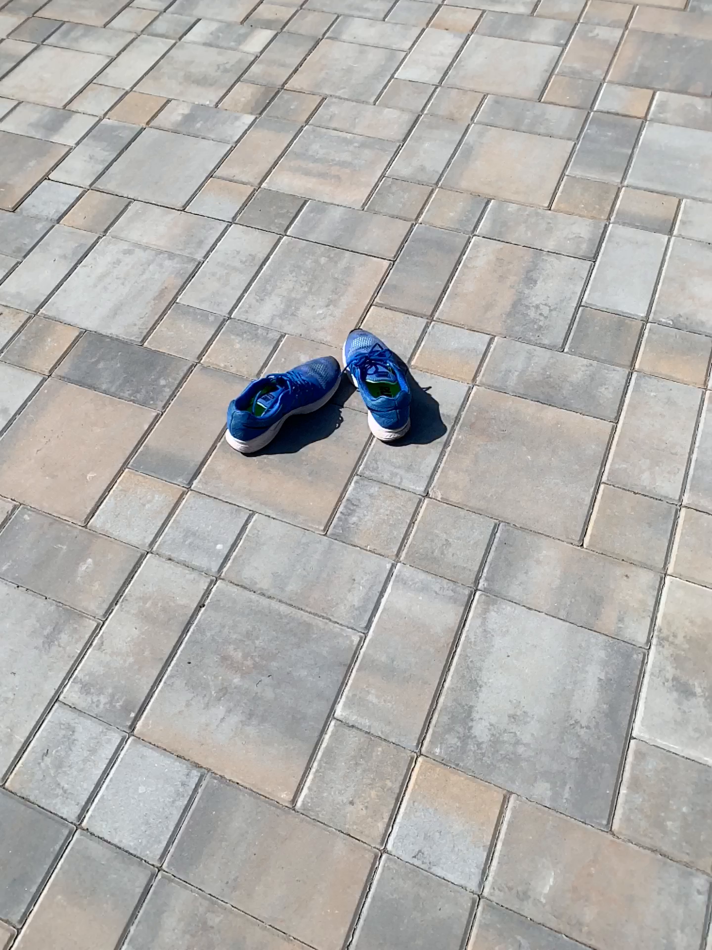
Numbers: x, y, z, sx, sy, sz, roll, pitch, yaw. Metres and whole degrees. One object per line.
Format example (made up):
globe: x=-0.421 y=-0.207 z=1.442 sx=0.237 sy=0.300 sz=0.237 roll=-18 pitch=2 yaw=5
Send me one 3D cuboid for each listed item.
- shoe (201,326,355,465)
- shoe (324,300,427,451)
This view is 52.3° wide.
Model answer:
shoe: x=-0.147 y=-0.159 z=1.417 sx=0.280 sy=0.080 sz=0.120 roll=-39 pitch=63 yaw=-20
shoe: x=0.035 y=-0.200 z=1.432 sx=0.120 sy=0.110 sz=0.271 roll=-16 pitch=58 yaw=-7
